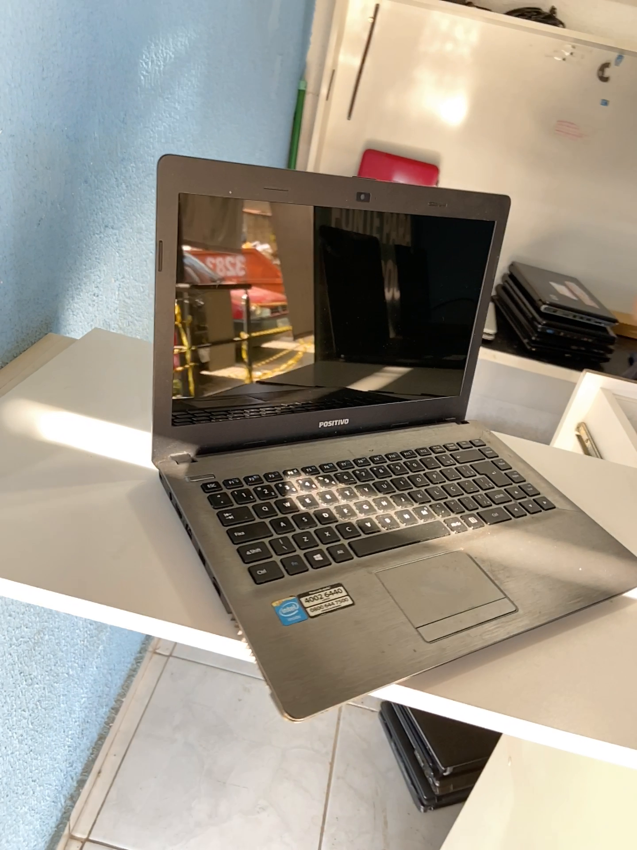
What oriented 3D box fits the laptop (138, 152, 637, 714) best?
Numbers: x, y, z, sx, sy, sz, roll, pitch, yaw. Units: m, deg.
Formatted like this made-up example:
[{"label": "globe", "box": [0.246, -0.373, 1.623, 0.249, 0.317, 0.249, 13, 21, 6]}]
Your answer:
[{"label": "laptop", "box": [0.079, -0.031, 0.480, 0.335, 0.211, 0.283, -6, 35, -31]}]
